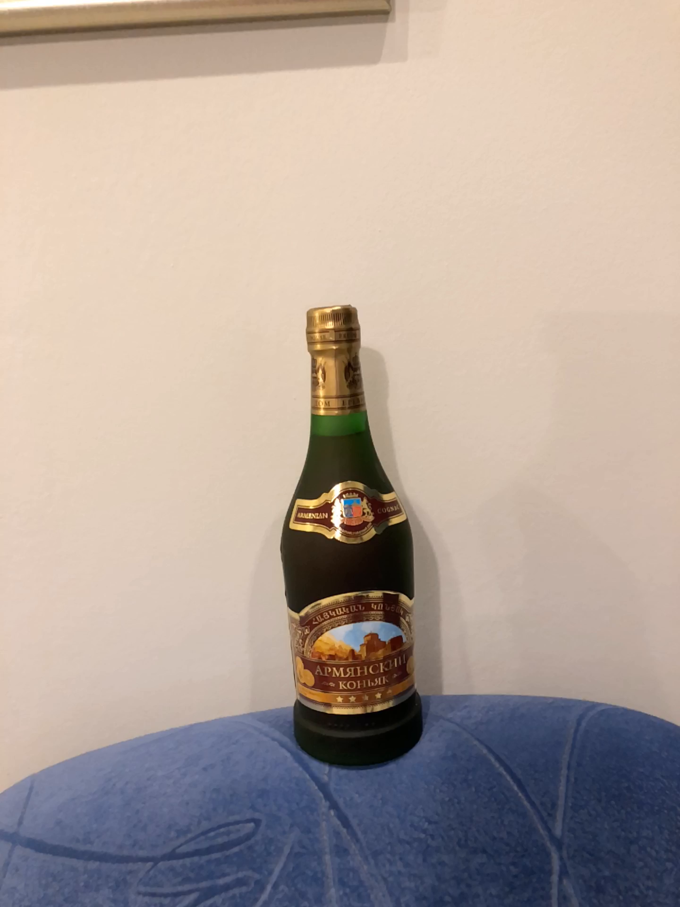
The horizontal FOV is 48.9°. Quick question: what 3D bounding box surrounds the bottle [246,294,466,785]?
[{"bbox_3d":[0.007,0.041,0.413,0.090,0.243,0.080,-6,10,-7],"label":"bottle"}]
